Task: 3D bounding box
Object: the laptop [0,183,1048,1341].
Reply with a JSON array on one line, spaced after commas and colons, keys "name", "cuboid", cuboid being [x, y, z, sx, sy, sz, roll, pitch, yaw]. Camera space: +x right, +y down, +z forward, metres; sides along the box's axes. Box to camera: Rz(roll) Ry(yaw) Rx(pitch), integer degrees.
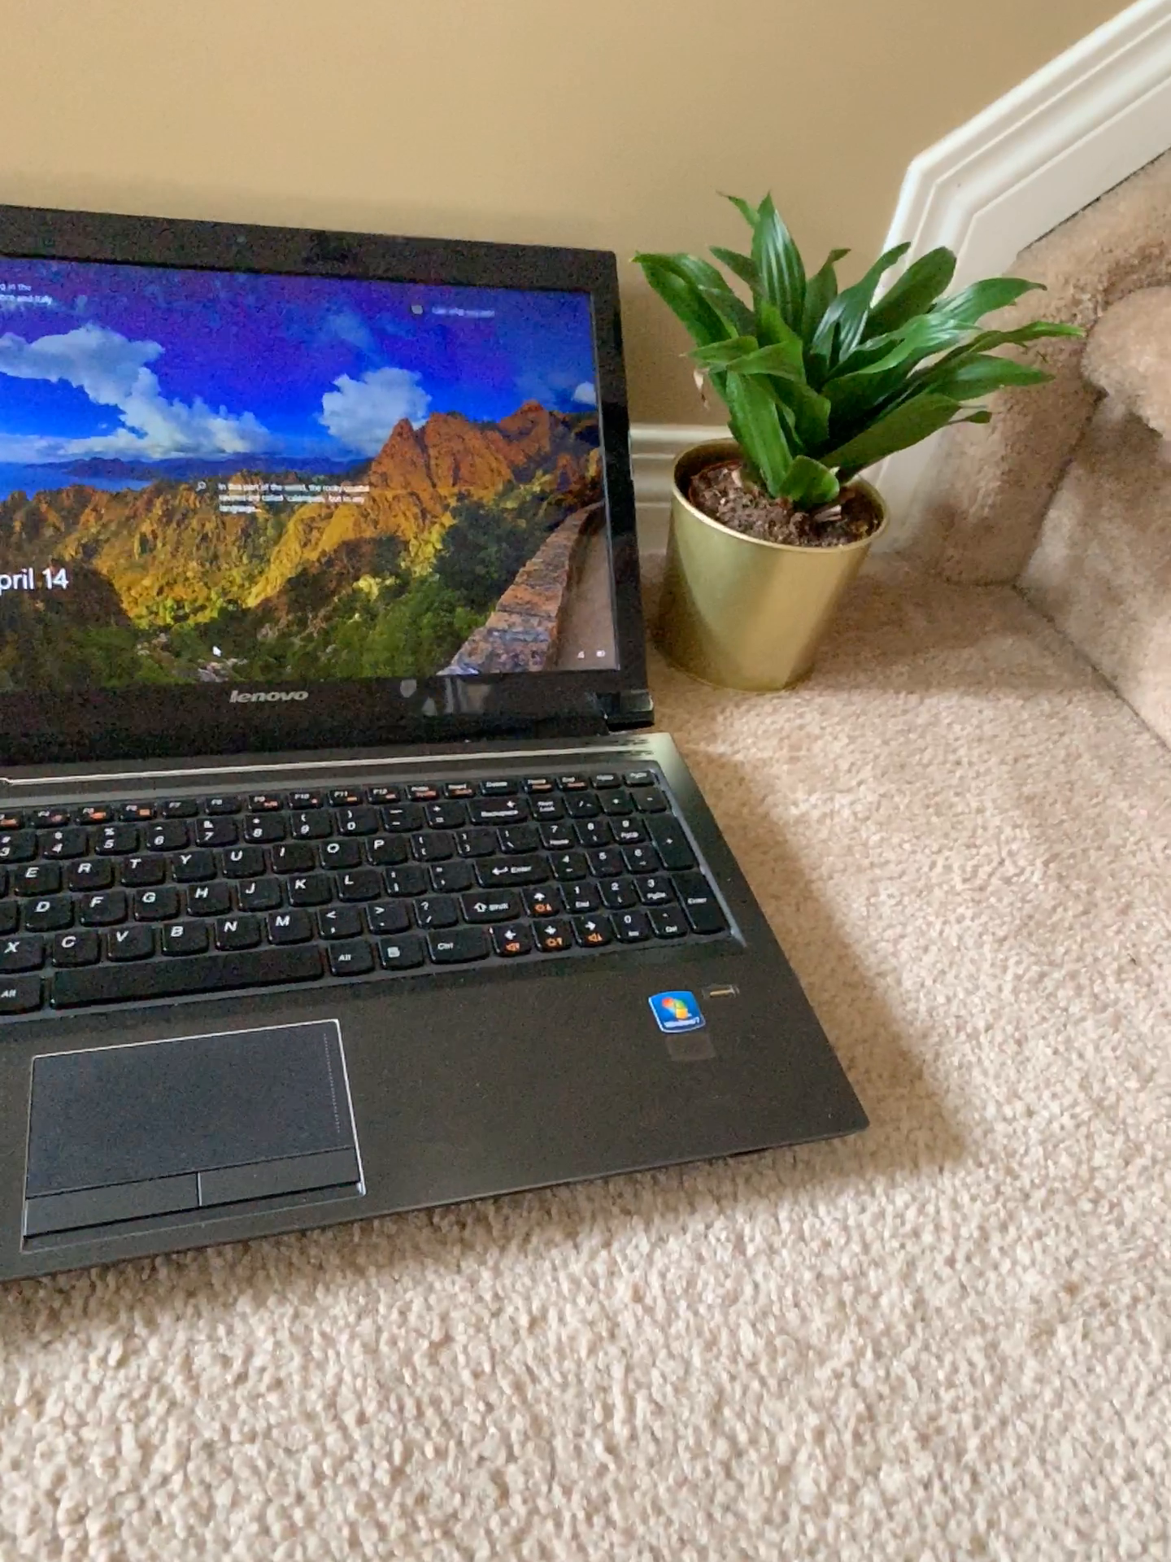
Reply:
[{"name": "laptop", "cuboid": [-0.122, -0.060, 0.469, 0.372, 0.167, 0.411, -4, 42, -19]}]
